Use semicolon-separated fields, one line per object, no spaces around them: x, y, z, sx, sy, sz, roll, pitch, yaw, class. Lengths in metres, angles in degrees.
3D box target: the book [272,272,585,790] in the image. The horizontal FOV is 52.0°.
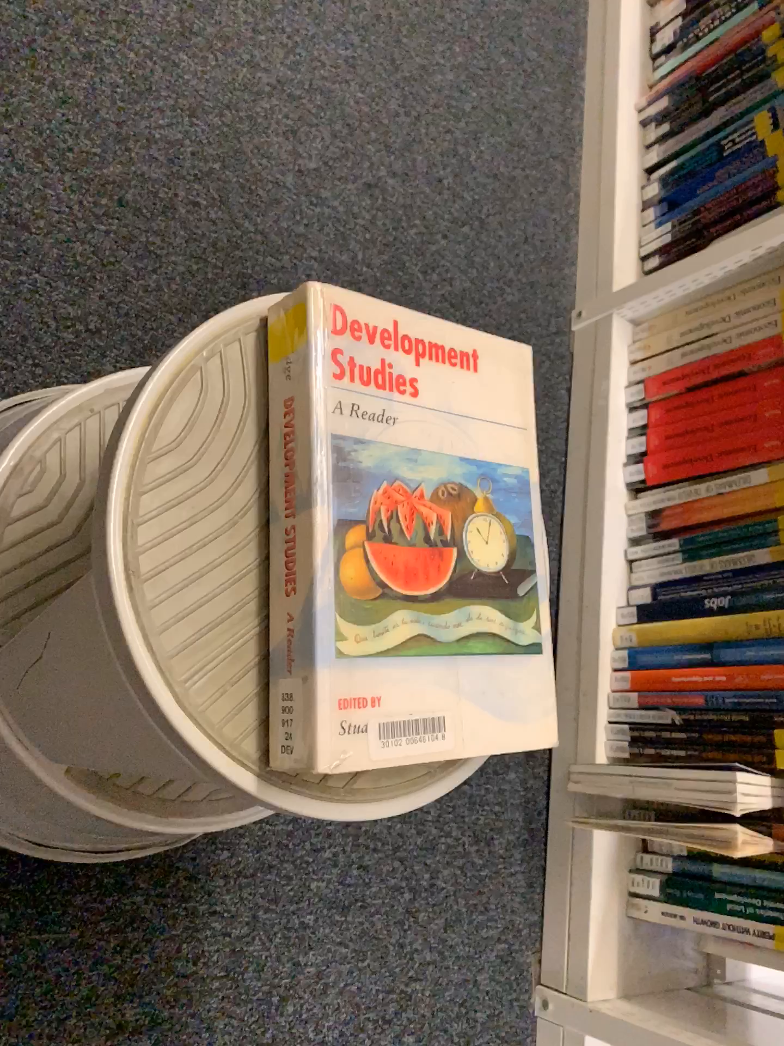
0.021;0.007;0.410;0.160;0.045;0.225;6;77;-37;book
